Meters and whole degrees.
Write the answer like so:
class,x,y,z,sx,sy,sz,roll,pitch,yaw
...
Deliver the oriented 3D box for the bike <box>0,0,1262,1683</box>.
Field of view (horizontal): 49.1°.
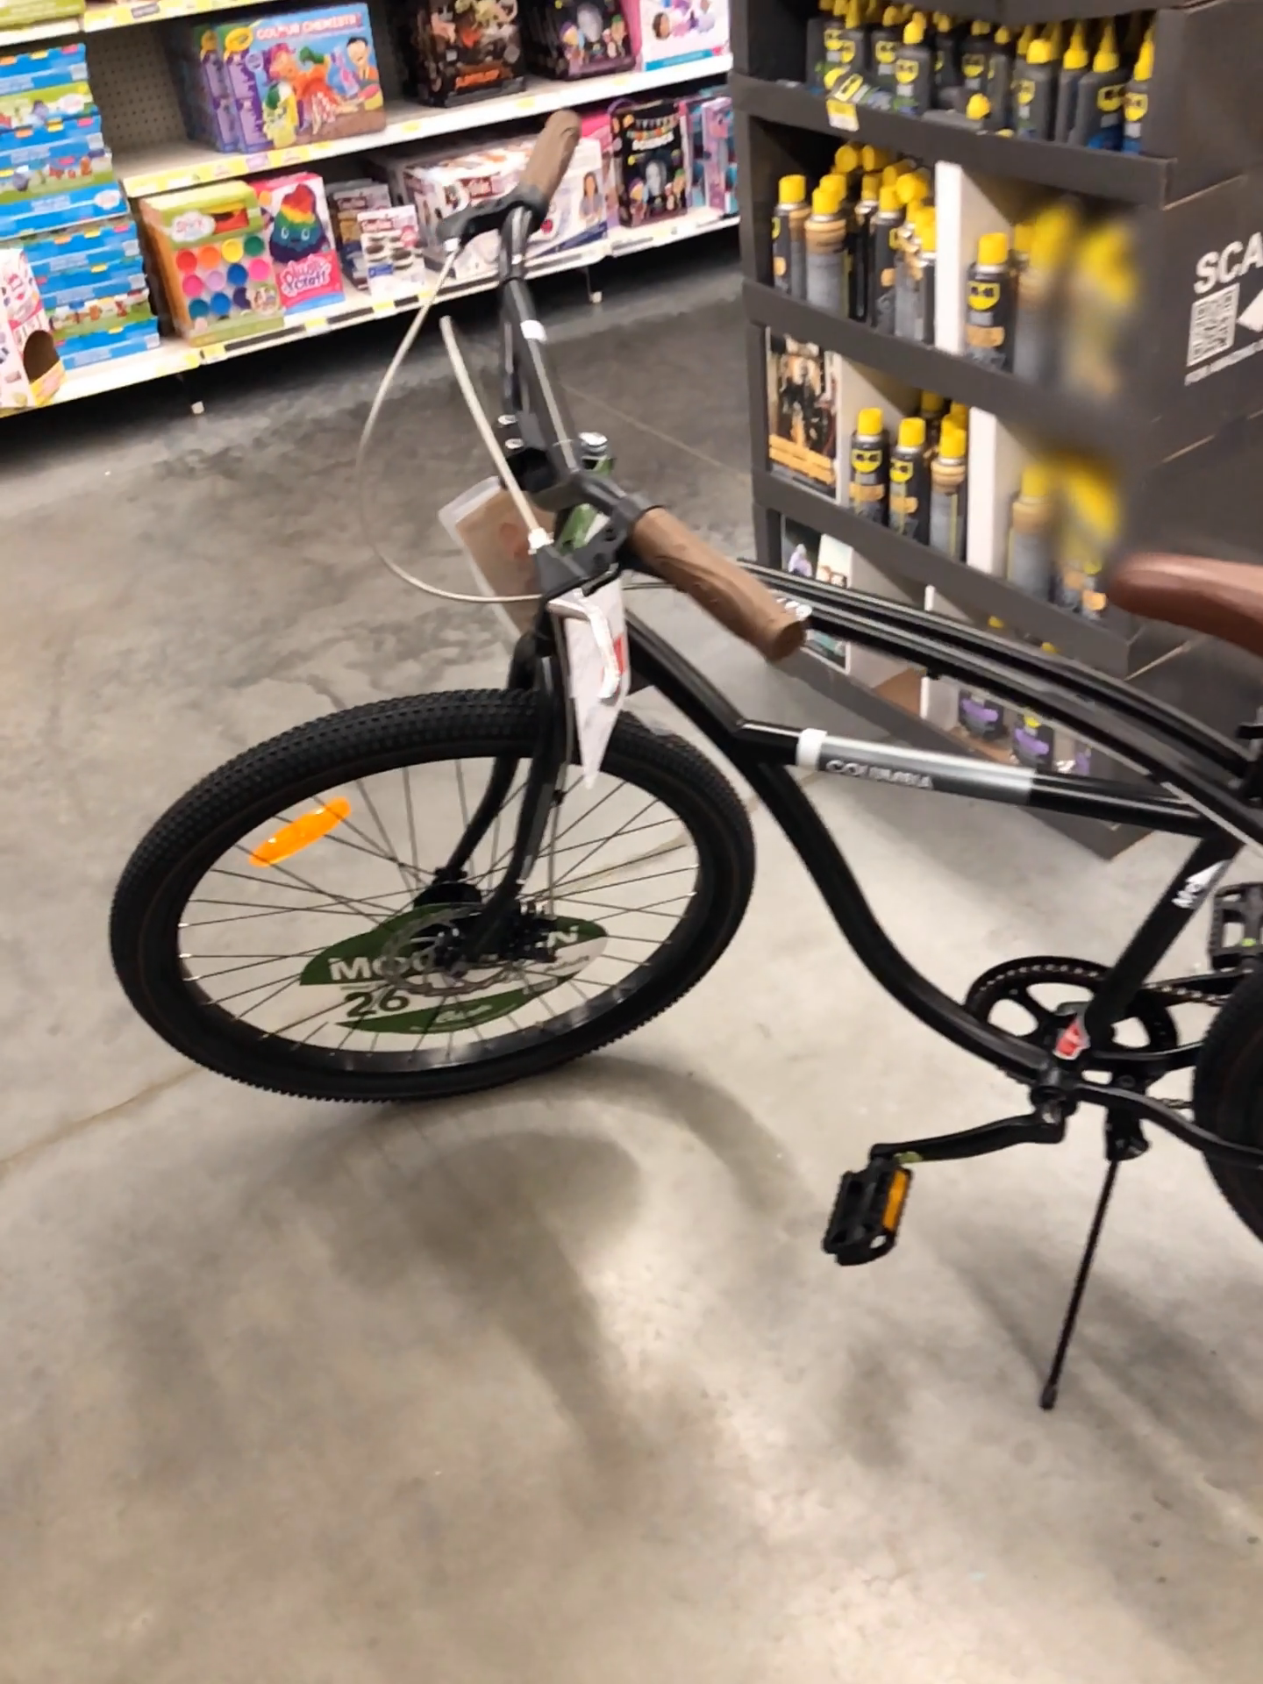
class,x,y,z,sx,sy,sz,roll,pitch,yaw
bike,0.264,0.031,0.962,1.583,0.975,0.656,10,41,12
